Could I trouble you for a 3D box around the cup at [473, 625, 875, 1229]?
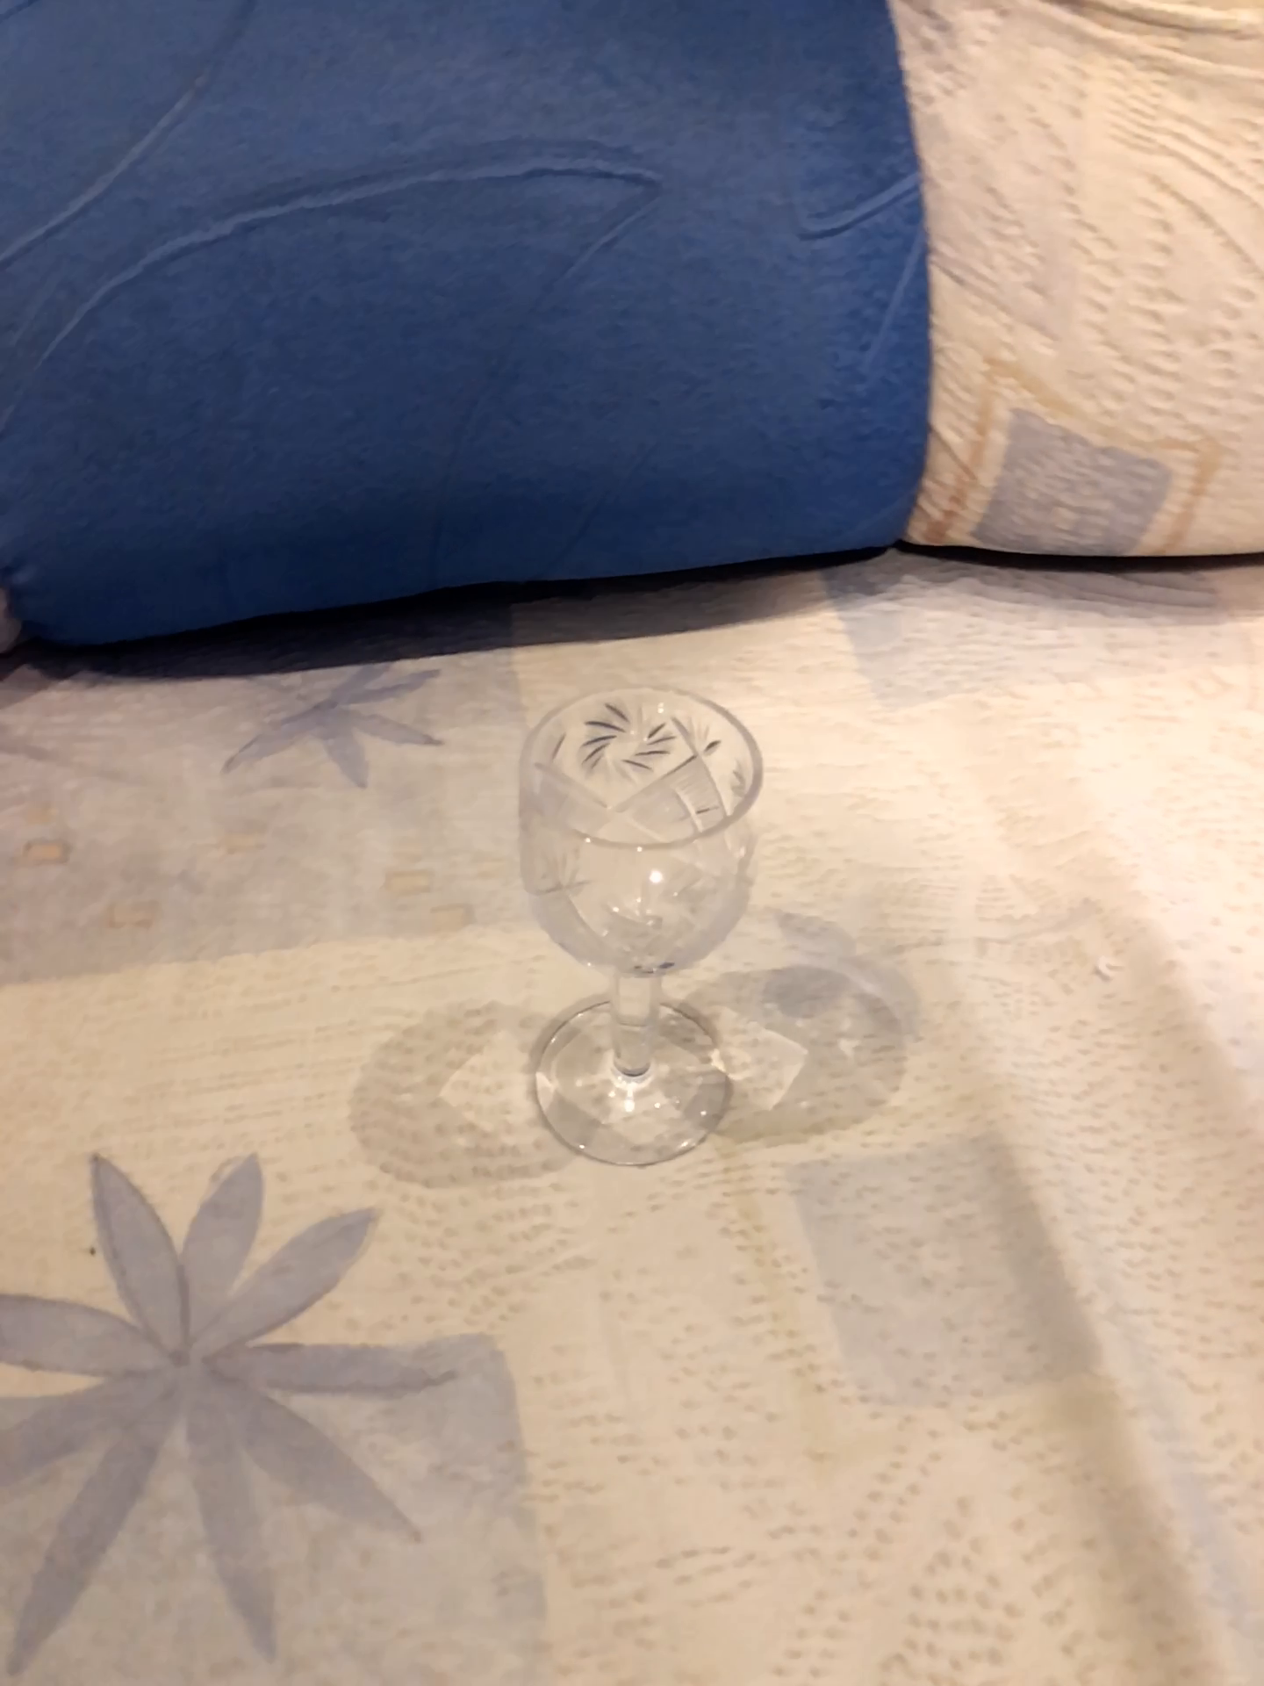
[{"bbox_3d":[0.011,0.022,0.319,0.060,0.119,0.060,-1,46,1],"label":"cup"}]
